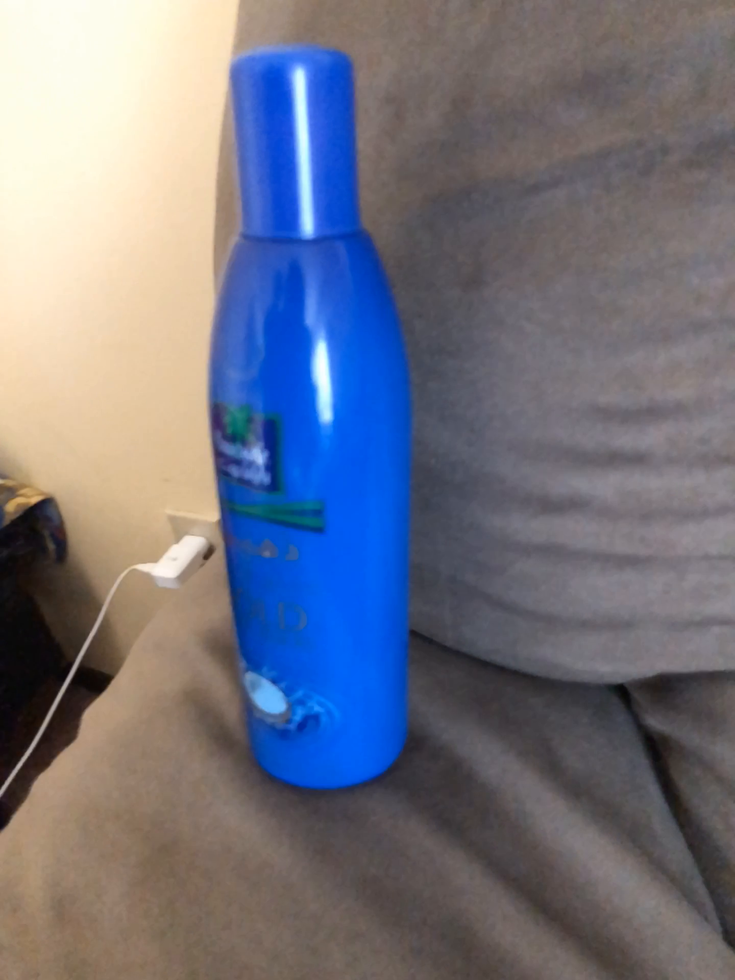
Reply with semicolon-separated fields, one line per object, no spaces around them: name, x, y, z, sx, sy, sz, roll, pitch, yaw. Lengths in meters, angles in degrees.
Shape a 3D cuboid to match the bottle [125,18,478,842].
bottle;-0.011;-0.008;0.198;0.050;0.180;0.050;-1;24;0
